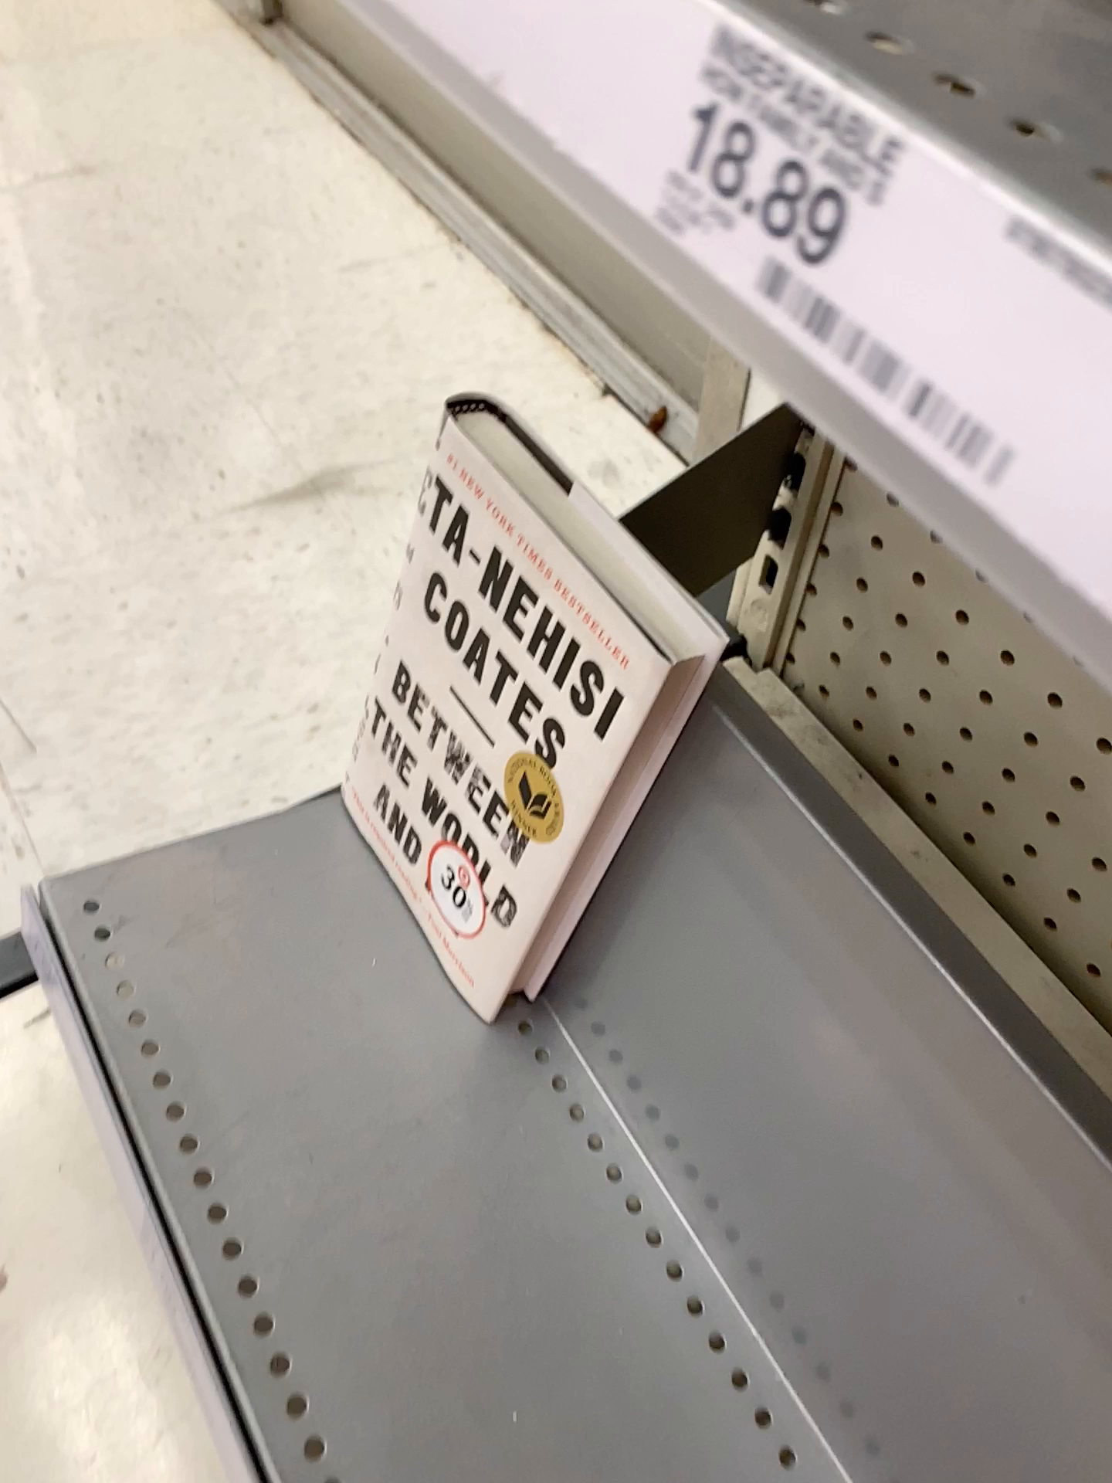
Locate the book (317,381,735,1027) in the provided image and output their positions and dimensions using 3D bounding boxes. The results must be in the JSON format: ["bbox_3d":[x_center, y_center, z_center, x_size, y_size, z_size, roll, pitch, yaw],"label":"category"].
[{"bbox_3d":[-0.026,-0.008,0.404,0.030,0.187,0.130,-13,52,-36],"label":"book"}]
